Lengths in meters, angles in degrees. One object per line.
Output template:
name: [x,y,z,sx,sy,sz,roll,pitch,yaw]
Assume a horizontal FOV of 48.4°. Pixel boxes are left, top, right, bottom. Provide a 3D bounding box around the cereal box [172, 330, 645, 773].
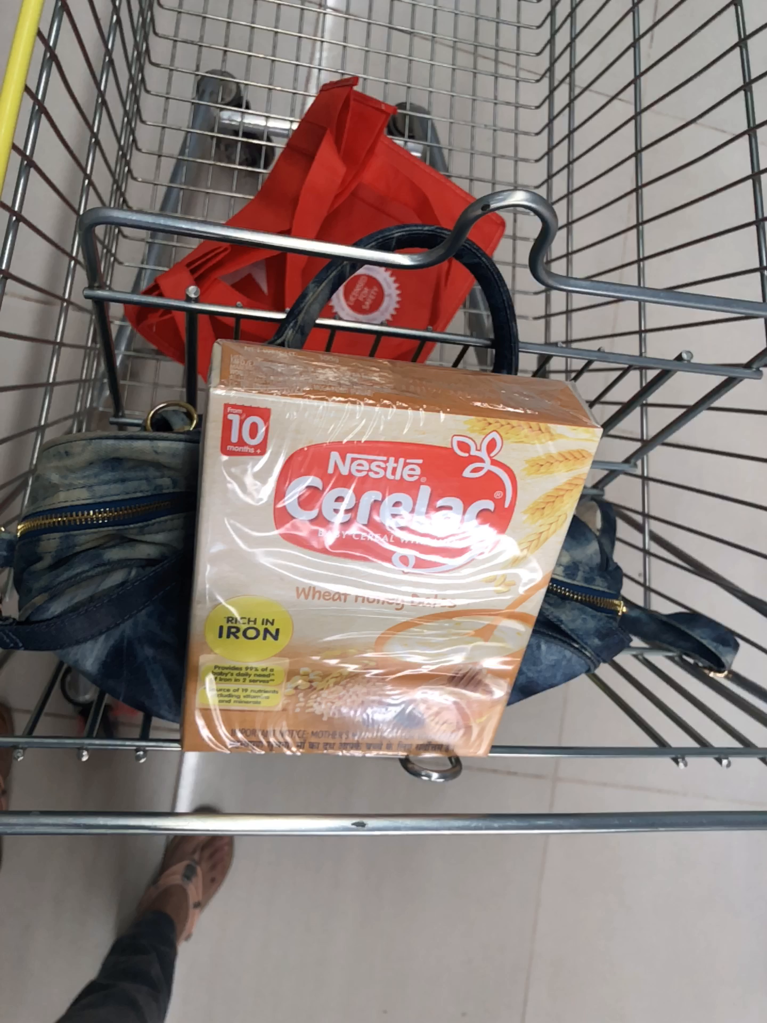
cereal box: [-0.002,0.029,0.386,0.170,0.060,0.190,4,122,-12]
